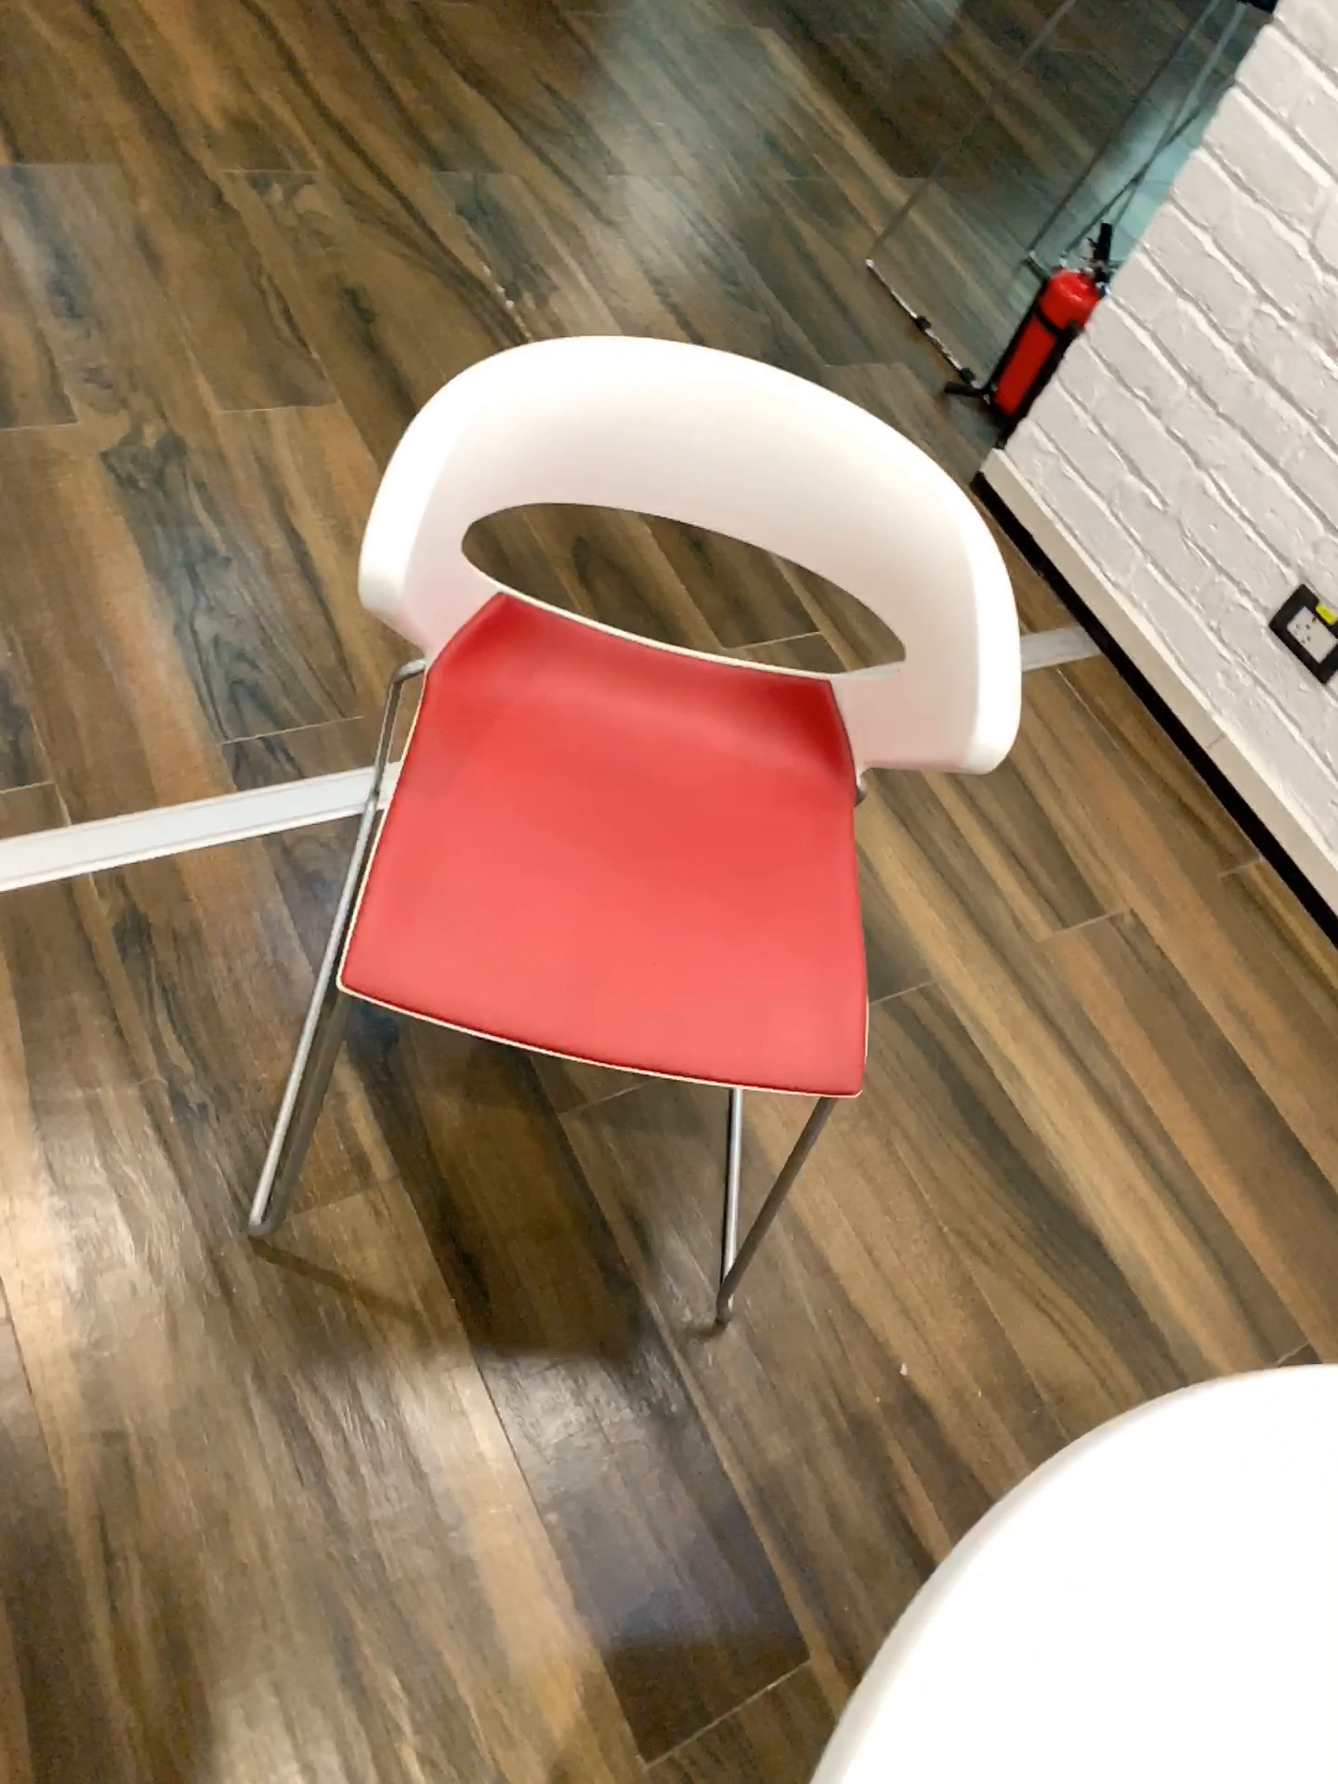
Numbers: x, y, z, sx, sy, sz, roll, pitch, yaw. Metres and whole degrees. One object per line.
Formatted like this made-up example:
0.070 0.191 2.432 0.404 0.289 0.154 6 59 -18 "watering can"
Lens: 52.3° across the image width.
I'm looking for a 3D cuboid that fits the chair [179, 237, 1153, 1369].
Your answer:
-0.046 -0.031 1.260 0.590 0.675 0.644 15 52 -11 "chair"
